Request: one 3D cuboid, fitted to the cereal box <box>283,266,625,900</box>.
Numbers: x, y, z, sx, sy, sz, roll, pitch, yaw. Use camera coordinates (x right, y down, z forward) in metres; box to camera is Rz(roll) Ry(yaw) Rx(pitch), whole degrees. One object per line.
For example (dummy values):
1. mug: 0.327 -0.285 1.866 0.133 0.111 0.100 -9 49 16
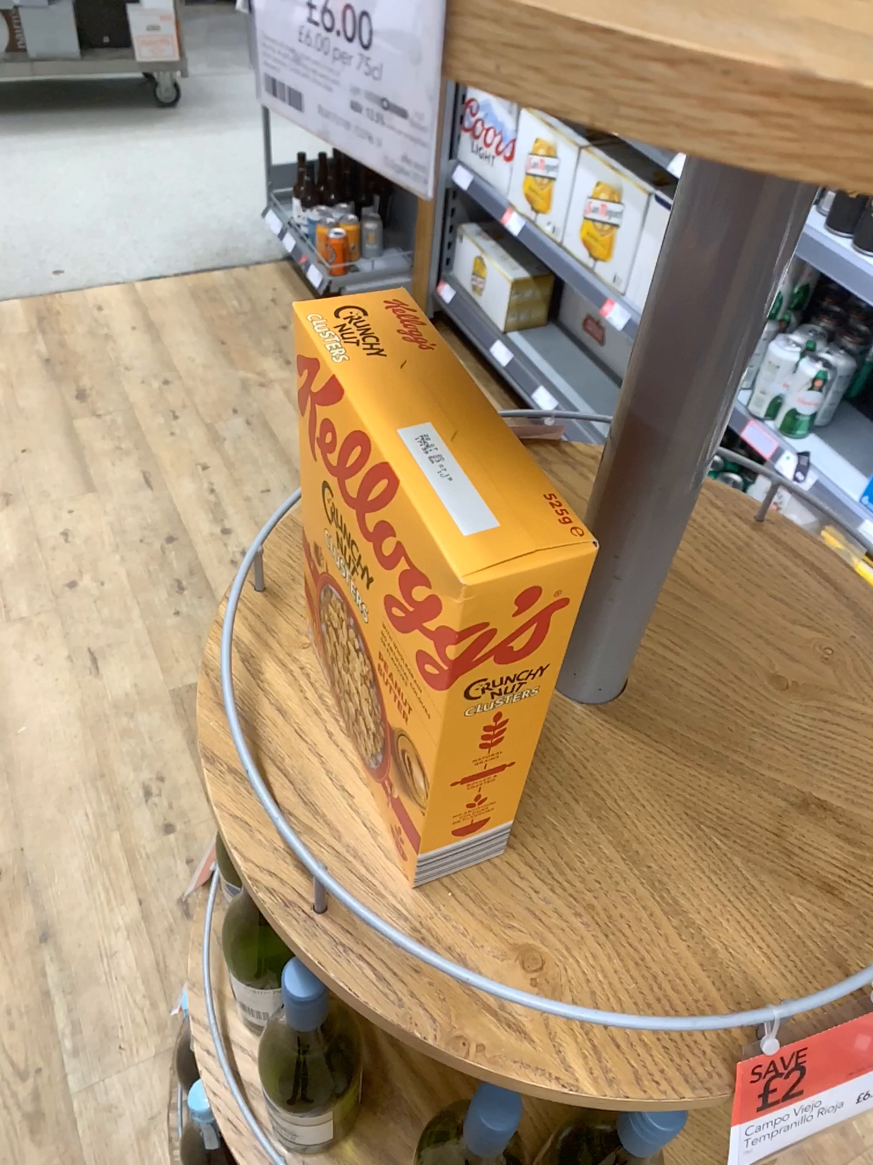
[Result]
1. cereal box: -0.013 0.004 0.457 0.060 0.238 0.212 -15 50 -20
